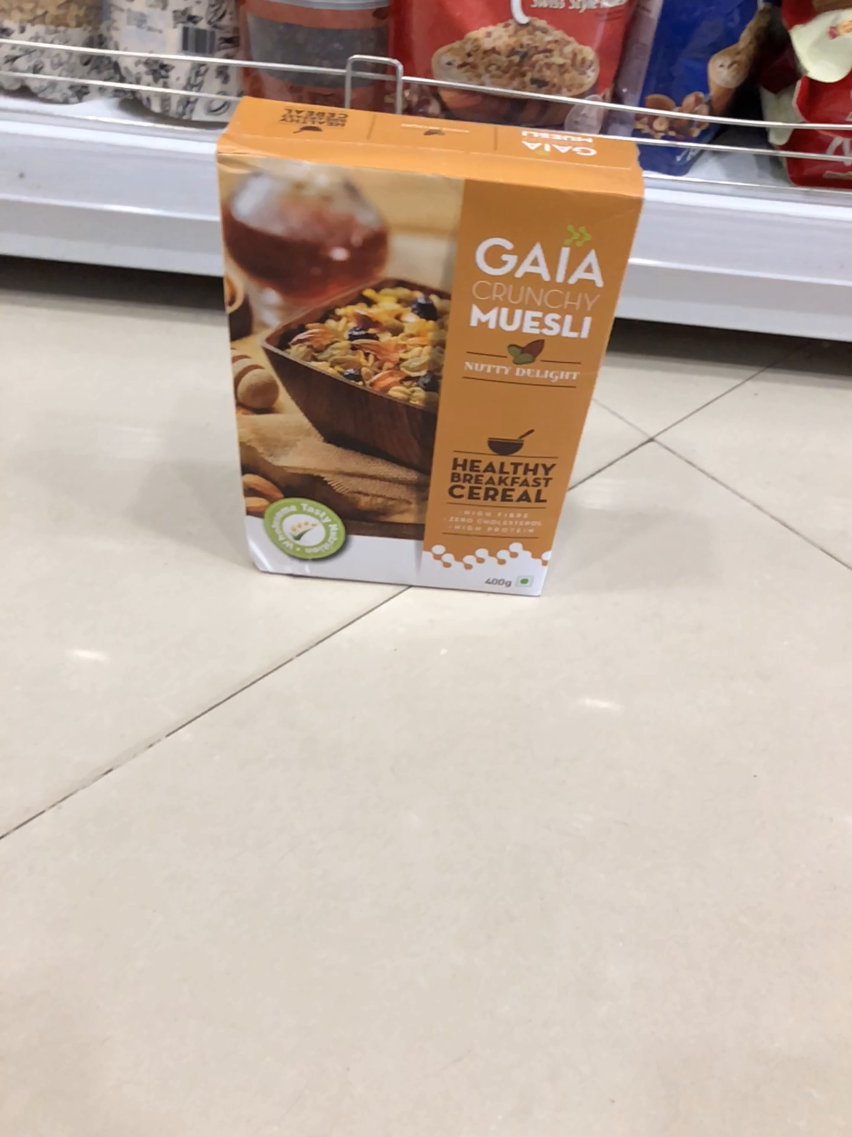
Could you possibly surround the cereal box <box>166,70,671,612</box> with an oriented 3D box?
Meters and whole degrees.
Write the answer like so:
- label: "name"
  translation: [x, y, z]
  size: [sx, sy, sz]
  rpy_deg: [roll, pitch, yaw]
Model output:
- label: "cereal box"
  translation: [-0.010, -0.091, 0.464]
  size: [0.190, 0.248, 0.060]
  rpy_deg: [6, 47, -1]
